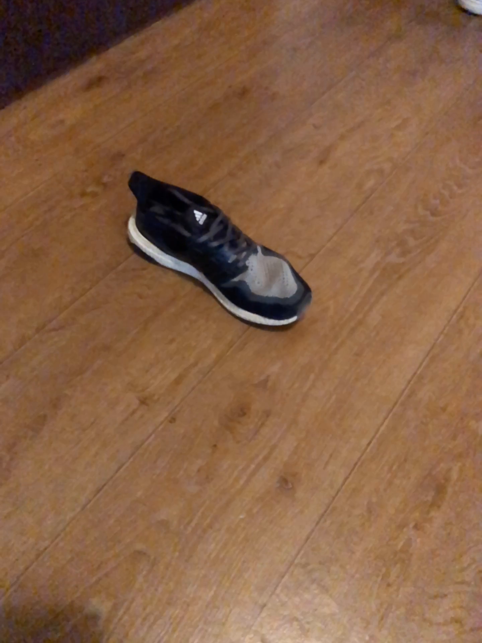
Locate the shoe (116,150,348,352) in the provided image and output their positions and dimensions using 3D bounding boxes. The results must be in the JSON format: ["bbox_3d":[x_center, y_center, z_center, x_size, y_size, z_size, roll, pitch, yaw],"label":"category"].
[{"bbox_3d":[-0.017,-0.097,0.689,0.270,0.099,0.114,33,60,18],"label":"shoe"}]
